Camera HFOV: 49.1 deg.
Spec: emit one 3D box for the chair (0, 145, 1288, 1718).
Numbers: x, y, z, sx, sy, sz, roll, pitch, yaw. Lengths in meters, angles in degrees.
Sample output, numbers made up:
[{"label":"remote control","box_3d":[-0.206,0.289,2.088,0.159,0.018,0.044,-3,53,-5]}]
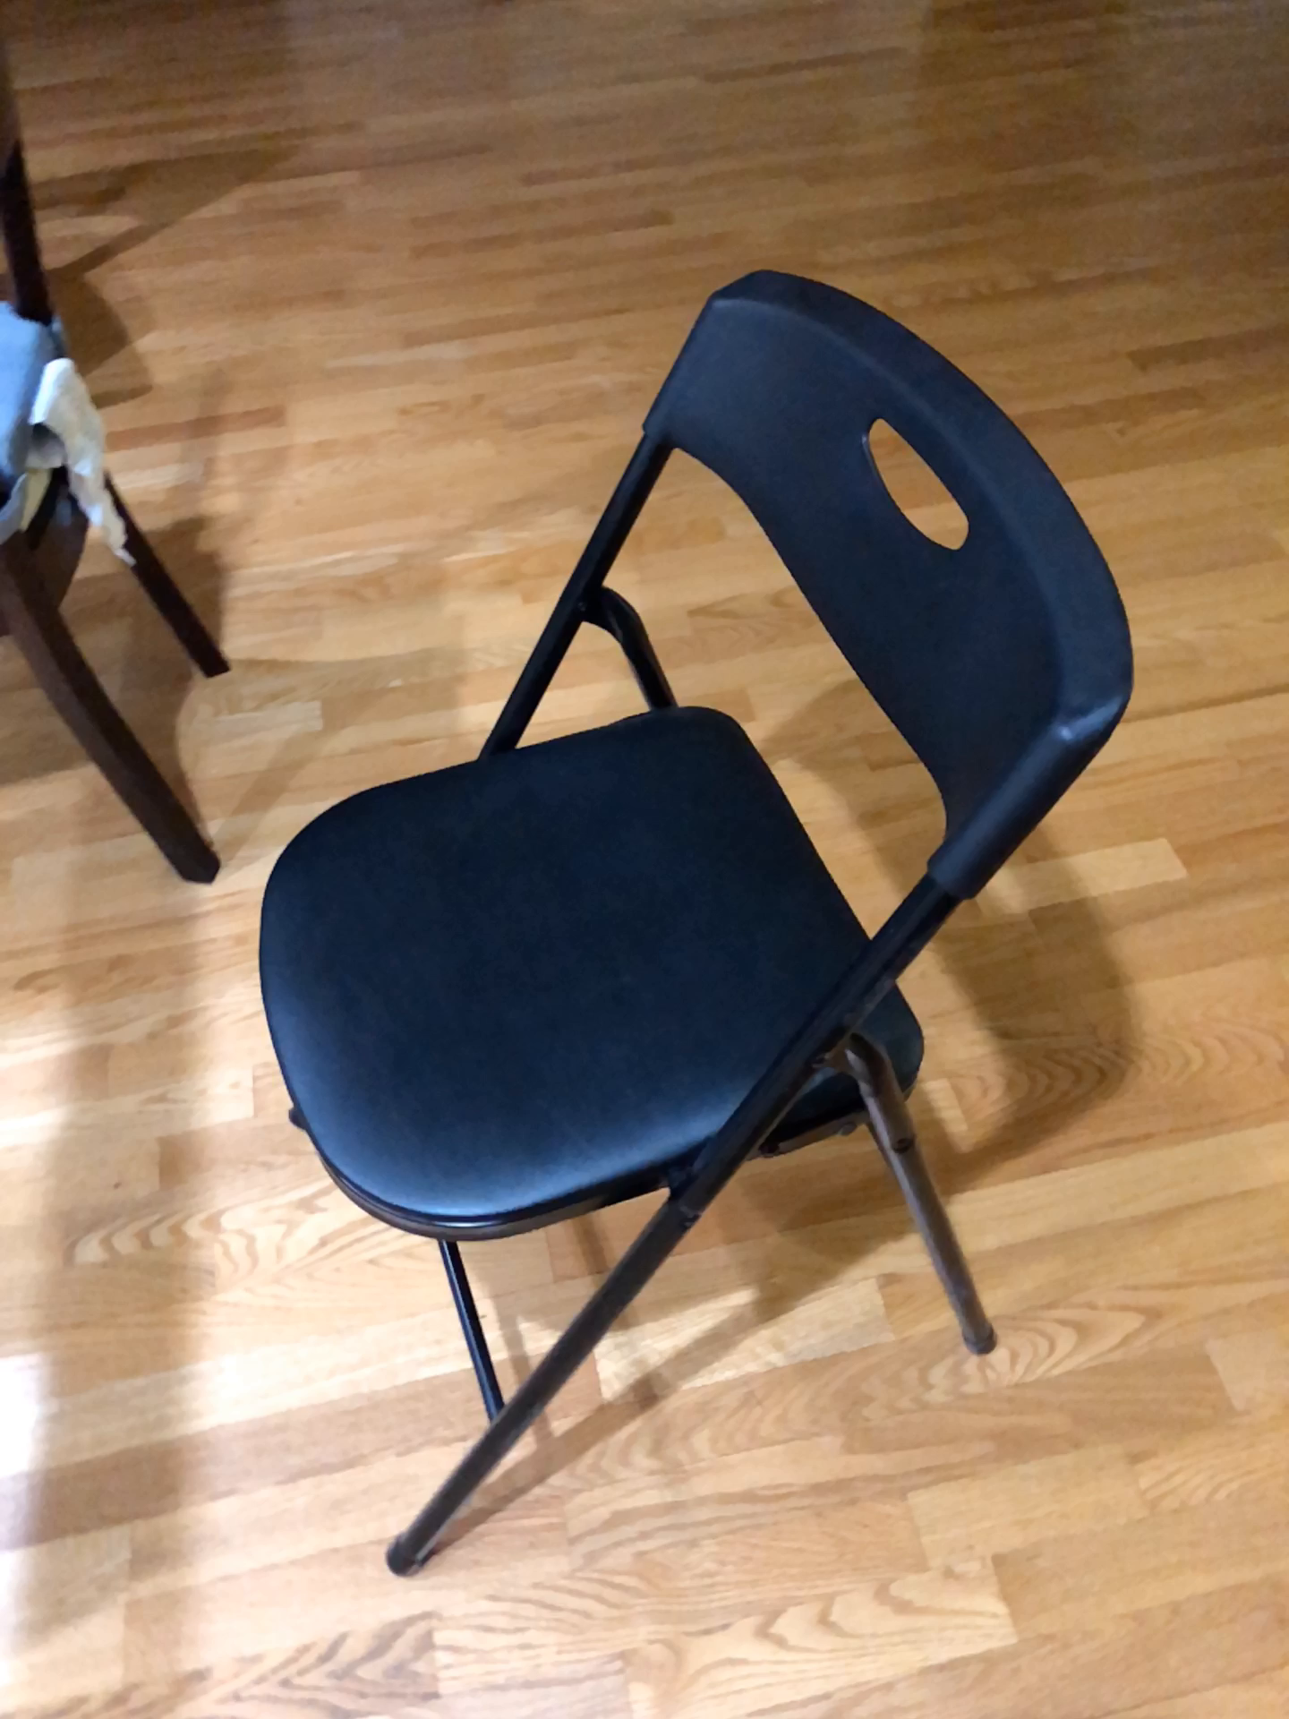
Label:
[{"label":"chair","box_3d":[-0.008,0.045,0.947,0.680,0.657,0.613,-17,50,-11]}]
